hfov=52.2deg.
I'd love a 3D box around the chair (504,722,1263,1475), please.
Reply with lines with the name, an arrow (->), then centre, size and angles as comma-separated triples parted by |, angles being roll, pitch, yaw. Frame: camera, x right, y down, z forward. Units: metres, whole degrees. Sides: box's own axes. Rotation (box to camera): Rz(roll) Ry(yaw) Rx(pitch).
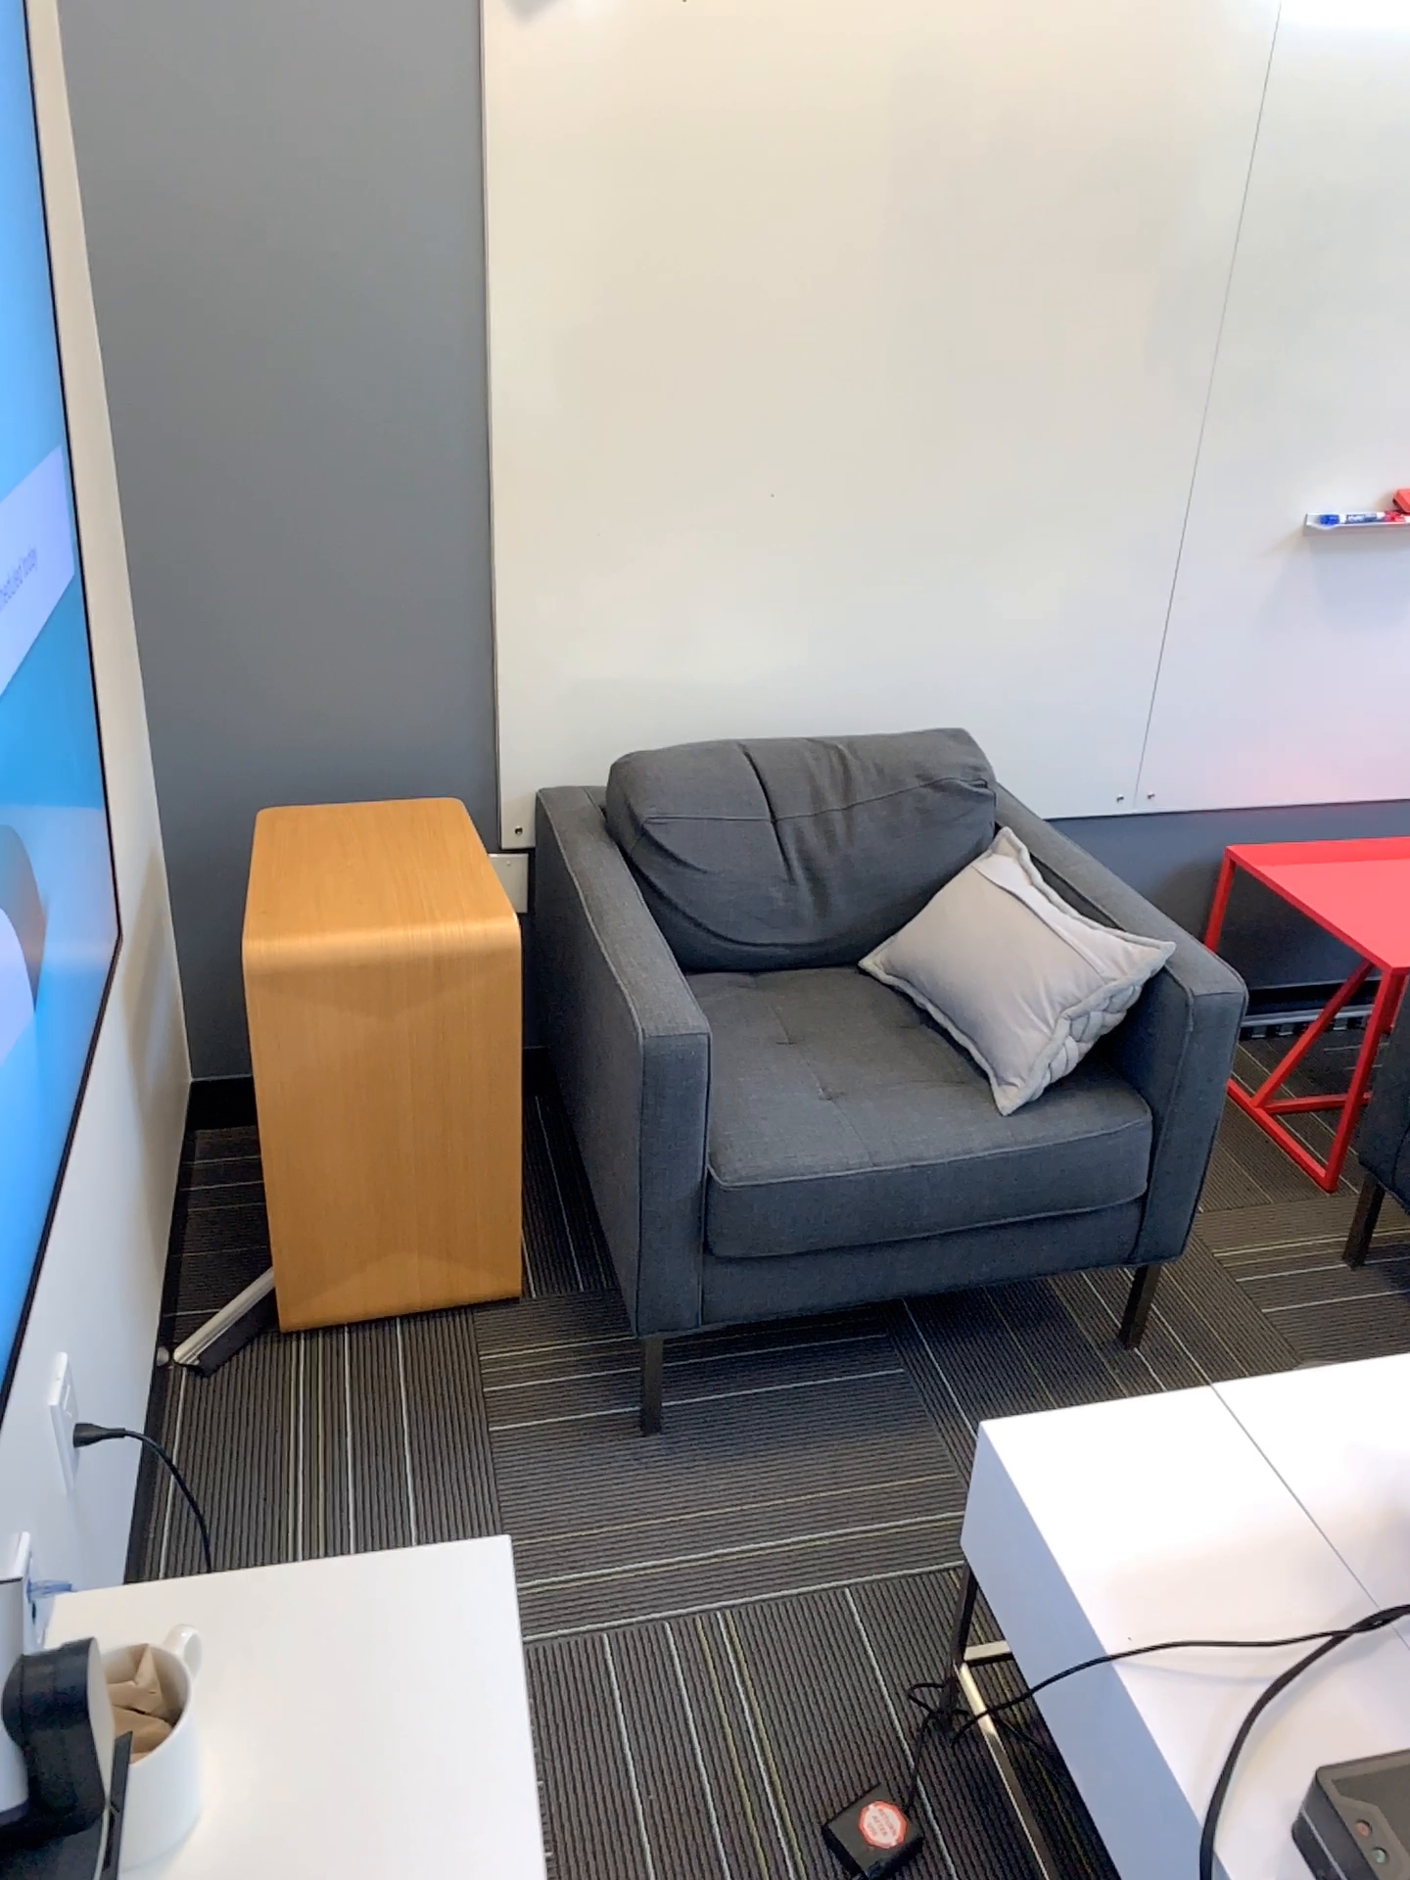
chair -> 0.170, 0.161, 2.306 | 0.840, 0.716, 0.945 | -4, 27, -15
